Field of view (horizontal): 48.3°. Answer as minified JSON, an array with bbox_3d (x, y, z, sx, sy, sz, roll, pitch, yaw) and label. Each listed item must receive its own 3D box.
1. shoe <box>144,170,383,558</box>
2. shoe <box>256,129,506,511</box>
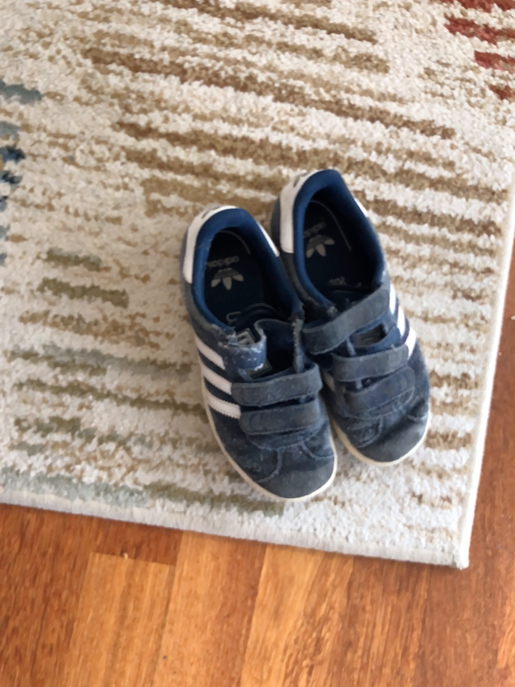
[{"bbox_3d":[0.001,0.011,0.369,0.084,0.053,0.216,-17,89,-6],"label":"shoe"},{"bbox_3d":[0.076,-0.015,0.378,0.086,0.052,0.219,-18,90,-6],"label":"shoe"}]
